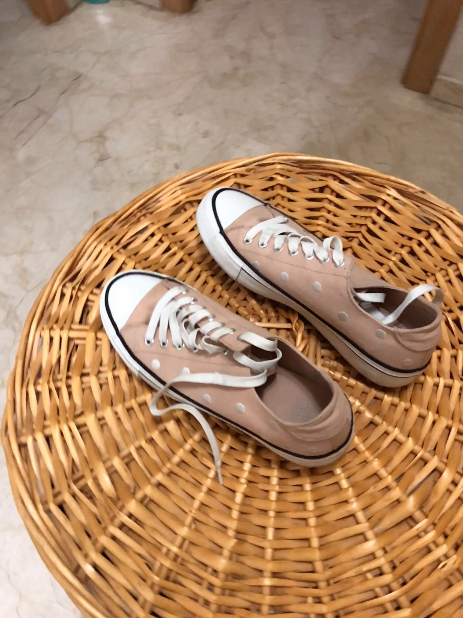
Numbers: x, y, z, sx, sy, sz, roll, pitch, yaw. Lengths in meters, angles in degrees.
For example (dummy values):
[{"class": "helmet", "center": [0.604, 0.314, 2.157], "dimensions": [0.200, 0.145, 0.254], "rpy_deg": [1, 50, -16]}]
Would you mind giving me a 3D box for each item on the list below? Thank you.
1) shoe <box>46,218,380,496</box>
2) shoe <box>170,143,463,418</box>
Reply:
[{"class": "shoe", "center": [-0.019, 0.034, 0.418], "dimensions": [0.246, 0.085, 0.087], "rpy_deg": [31, 69, 19]}, {"class": "shoe", "center": [0.065, -0.032, 0.464], "dimensions": [0.246, 0.095, 0.093], "rpy_deg": [38, 59, 18]}]
